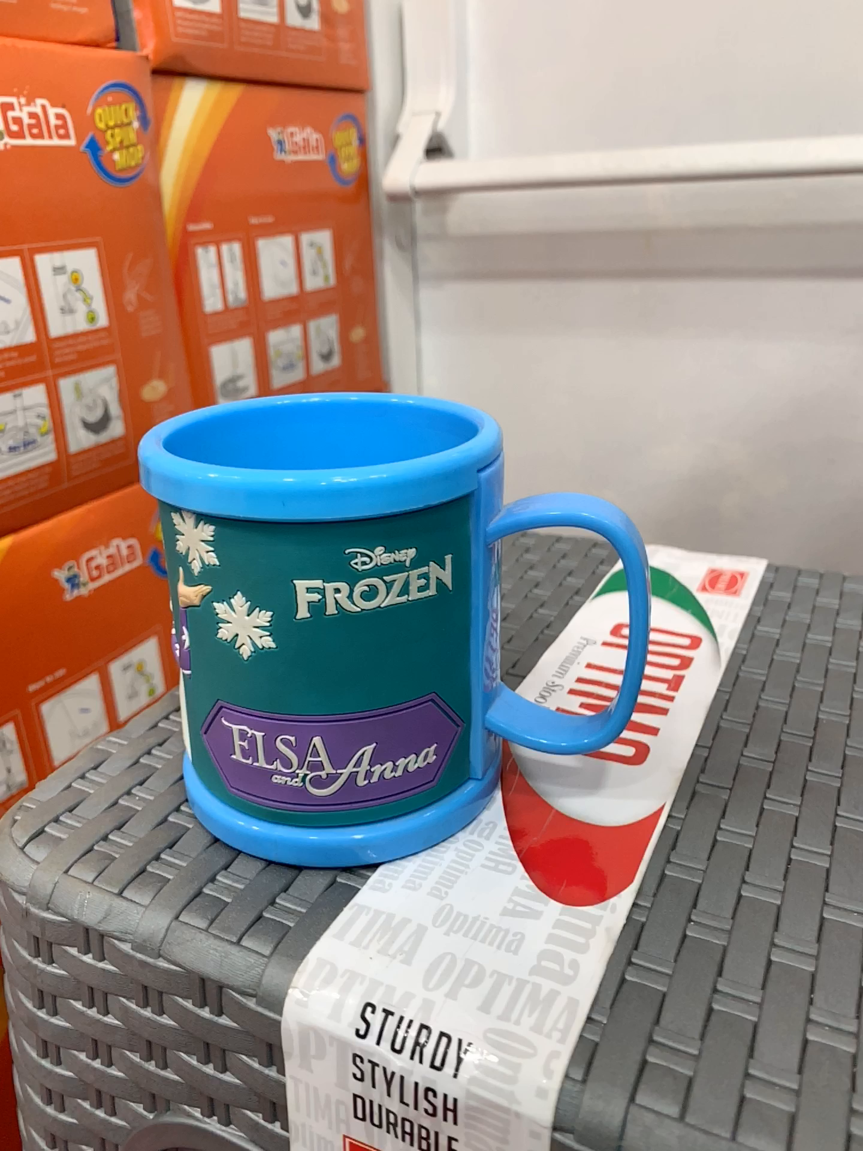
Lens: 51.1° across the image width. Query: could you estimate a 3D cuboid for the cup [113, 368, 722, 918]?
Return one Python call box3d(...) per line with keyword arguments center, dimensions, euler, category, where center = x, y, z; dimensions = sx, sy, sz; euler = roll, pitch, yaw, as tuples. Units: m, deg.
box3d(center=(0.002, 0.009, 0.210), dimensions=(0.106, 0.099, 0.078), euler=(0, 22, 7), category="cup")
